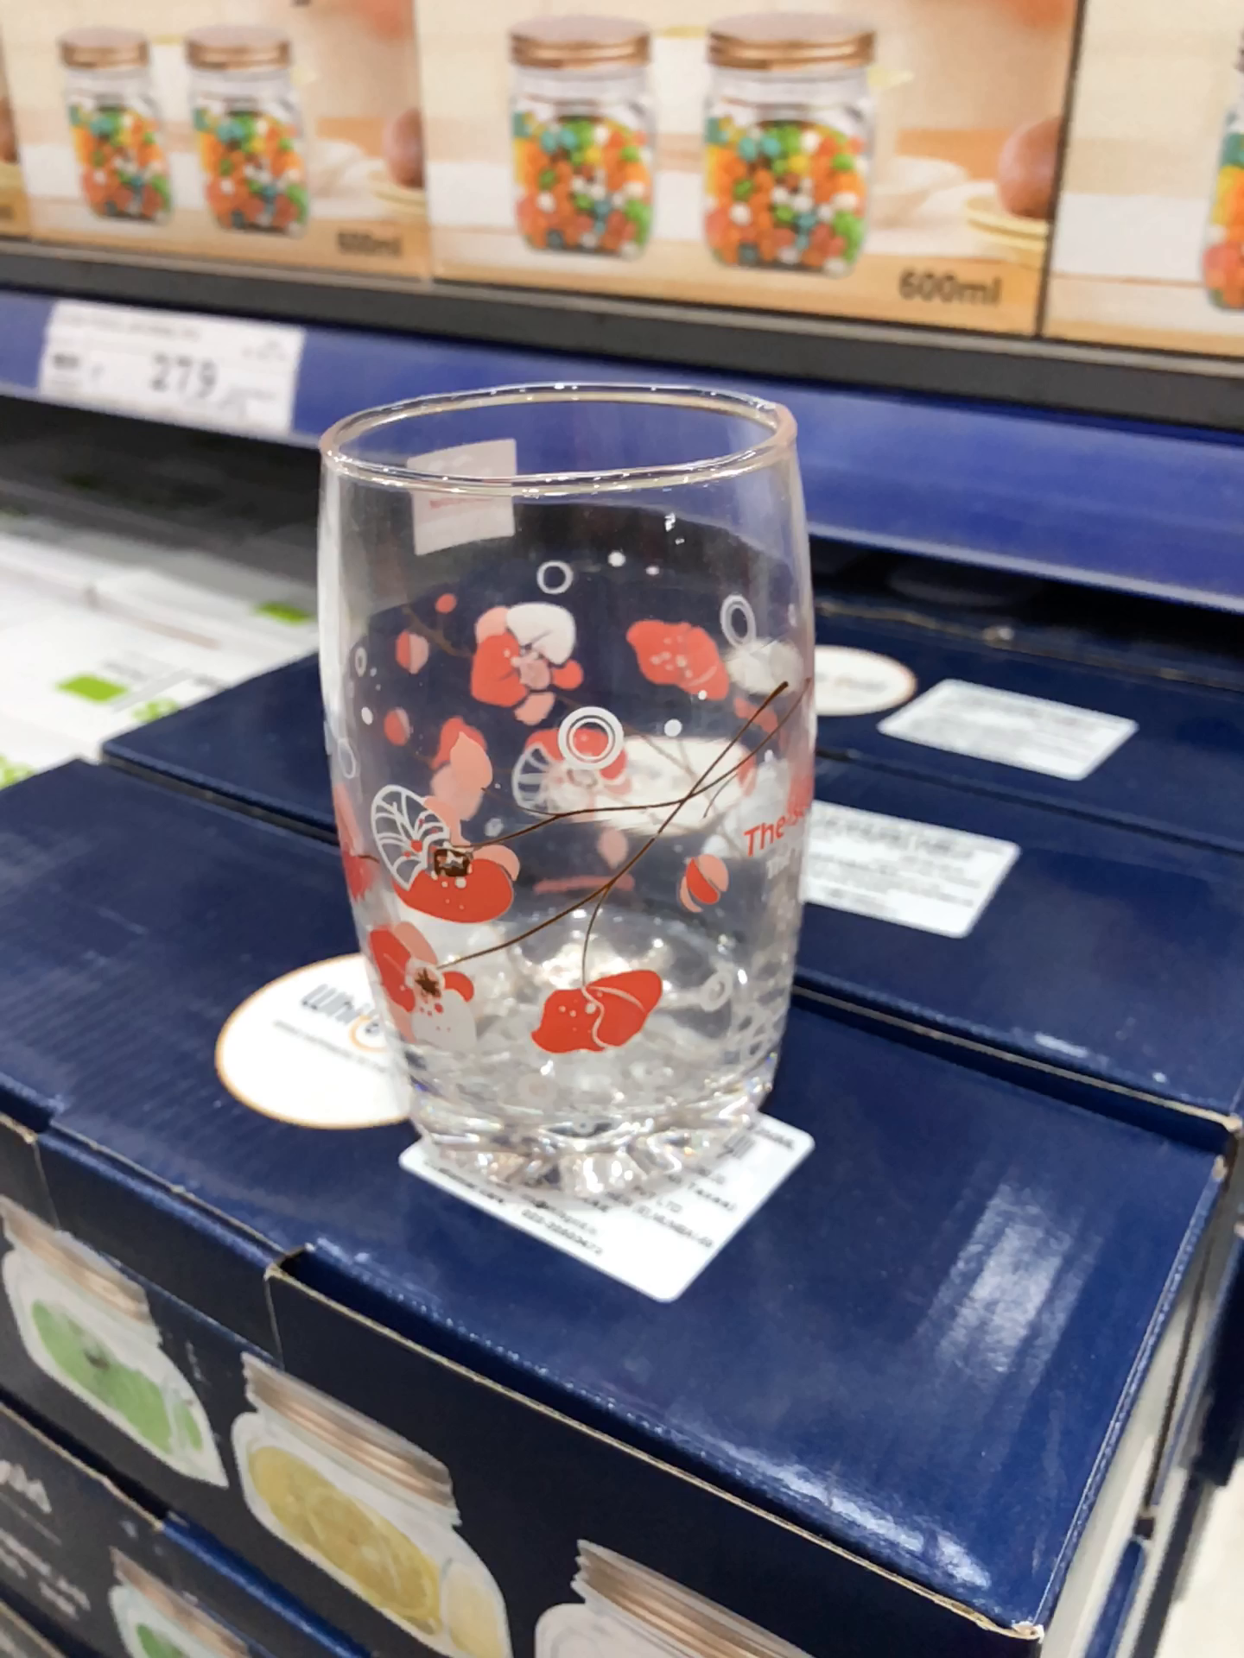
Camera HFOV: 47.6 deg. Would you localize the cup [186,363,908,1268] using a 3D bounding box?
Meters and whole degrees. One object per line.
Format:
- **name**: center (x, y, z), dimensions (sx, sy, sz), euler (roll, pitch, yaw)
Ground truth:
- **cup**: center (-0.005, -0.007, 0.204), dimensions (0.070, 0.100, 0.070), euler (0, 29, 0)
